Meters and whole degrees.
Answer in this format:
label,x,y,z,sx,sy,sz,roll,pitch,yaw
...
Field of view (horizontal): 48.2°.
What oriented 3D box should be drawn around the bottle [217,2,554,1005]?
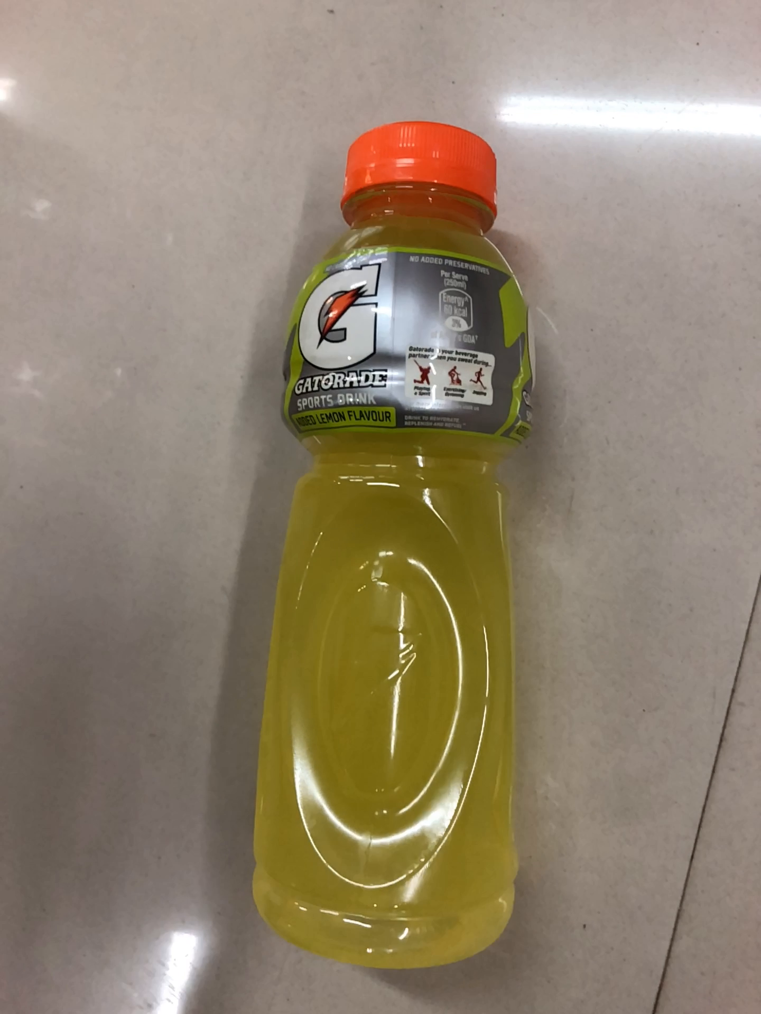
label,x,y,z,sx,sy,sz,roll,pitch,yaw
bottle,0.004,-0.001,0.236,0.070,0.060,0.230,2,91,23
